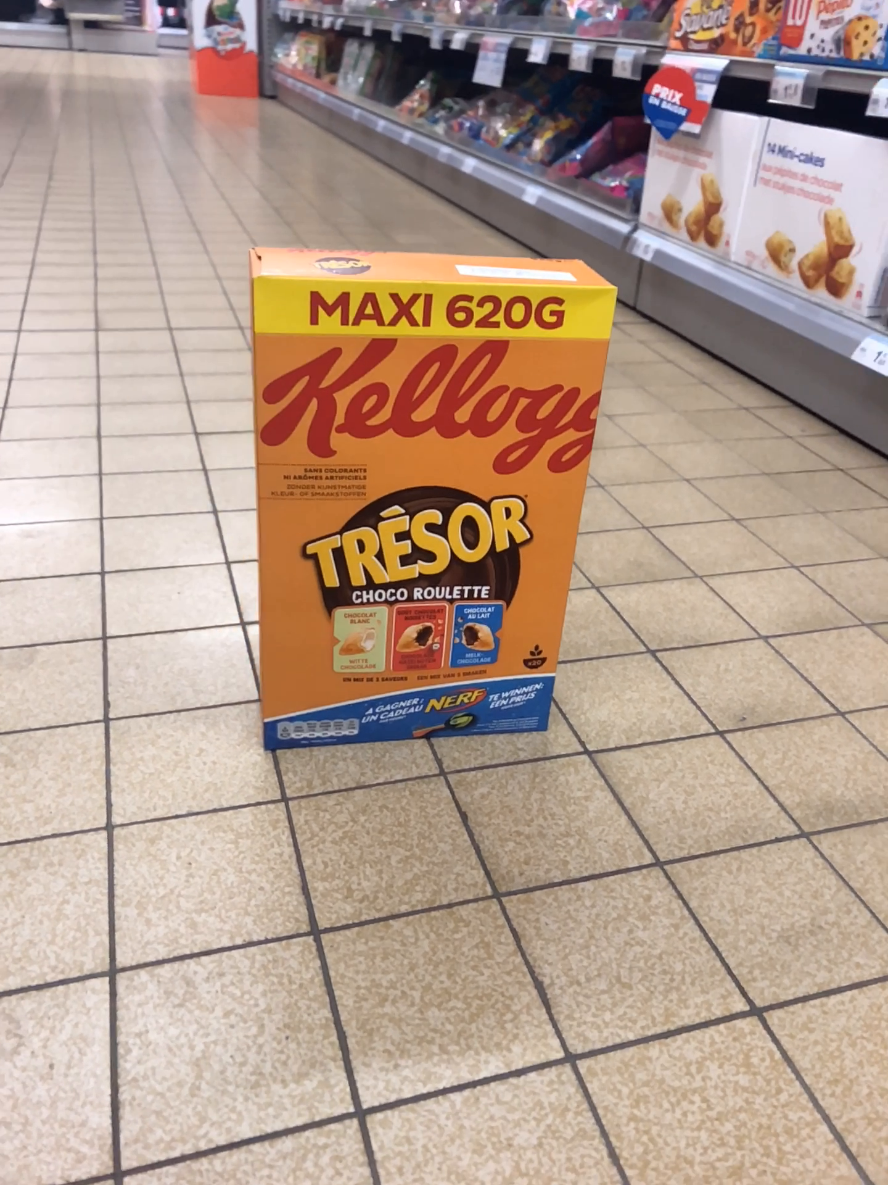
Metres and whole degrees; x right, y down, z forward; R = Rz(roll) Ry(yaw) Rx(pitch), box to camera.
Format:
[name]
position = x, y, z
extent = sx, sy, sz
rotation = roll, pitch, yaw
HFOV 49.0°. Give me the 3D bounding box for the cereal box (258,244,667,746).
[cereal box]
position = -0.003, -0.049, 0.591
extent = 0.210, 0.288, 0.070
rotation = -1, 30, -11
